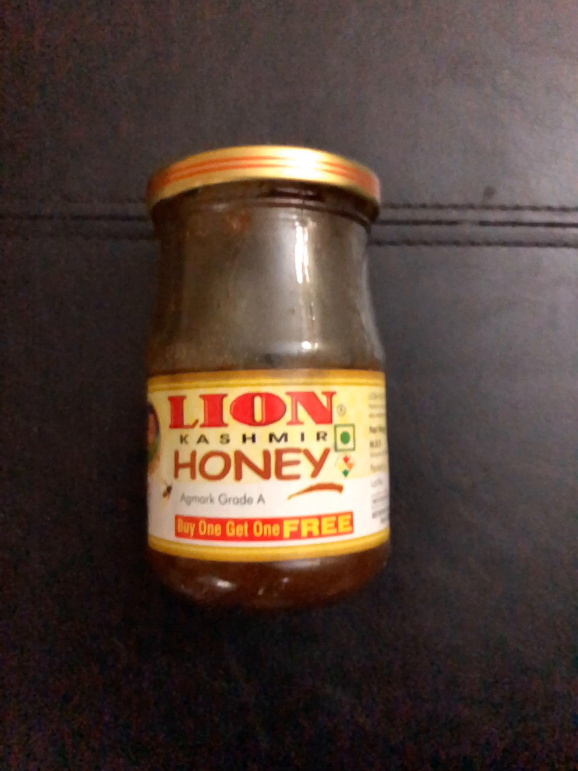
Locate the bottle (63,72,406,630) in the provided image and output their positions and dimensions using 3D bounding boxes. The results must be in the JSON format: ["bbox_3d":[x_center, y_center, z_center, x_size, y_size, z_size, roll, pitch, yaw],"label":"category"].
[{"bbox_3d":[-0.009,-0.005,0.168,0.068,0.070,0.110,-2,86,7],"label":"bottle"}]
